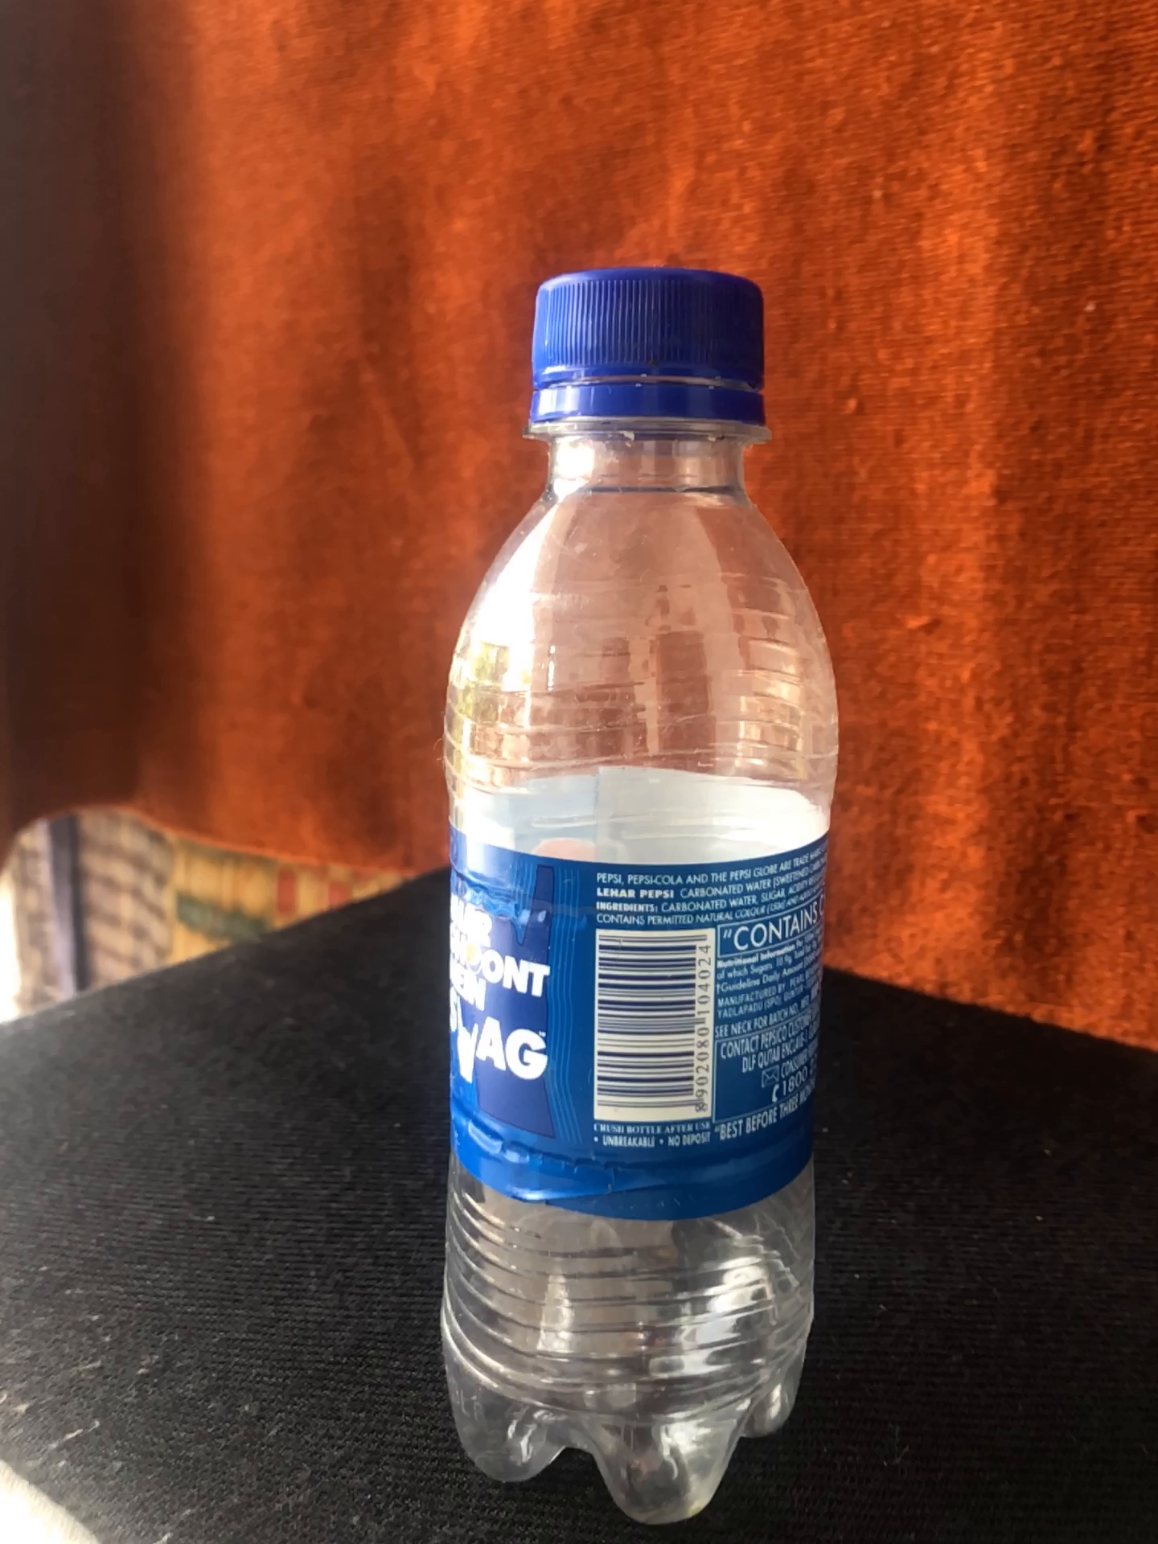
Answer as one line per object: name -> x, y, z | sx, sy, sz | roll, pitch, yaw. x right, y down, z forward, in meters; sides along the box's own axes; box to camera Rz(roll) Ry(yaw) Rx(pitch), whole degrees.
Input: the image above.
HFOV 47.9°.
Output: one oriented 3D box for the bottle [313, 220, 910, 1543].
bottle -> 0.001, 0.021, 0.179 | 0.050, 0.169, 0.060 | -7, 16, -26
